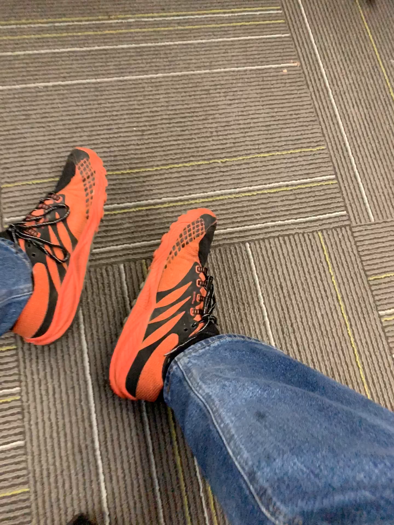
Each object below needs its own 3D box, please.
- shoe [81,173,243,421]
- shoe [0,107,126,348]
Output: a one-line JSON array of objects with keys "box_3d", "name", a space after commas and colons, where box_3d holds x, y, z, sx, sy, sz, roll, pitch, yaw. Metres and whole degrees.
[{"box_3d": [-0.032, 0.051, 0.589, 0.108, 0.138, 0.318, 14, 71, 14], "name": "shoe"}, {"box_3d": [-0.216, -0.044, 0.582, 0.108, 0.128, 0.308, 27, 65, -44], "name": "shoe"}]
